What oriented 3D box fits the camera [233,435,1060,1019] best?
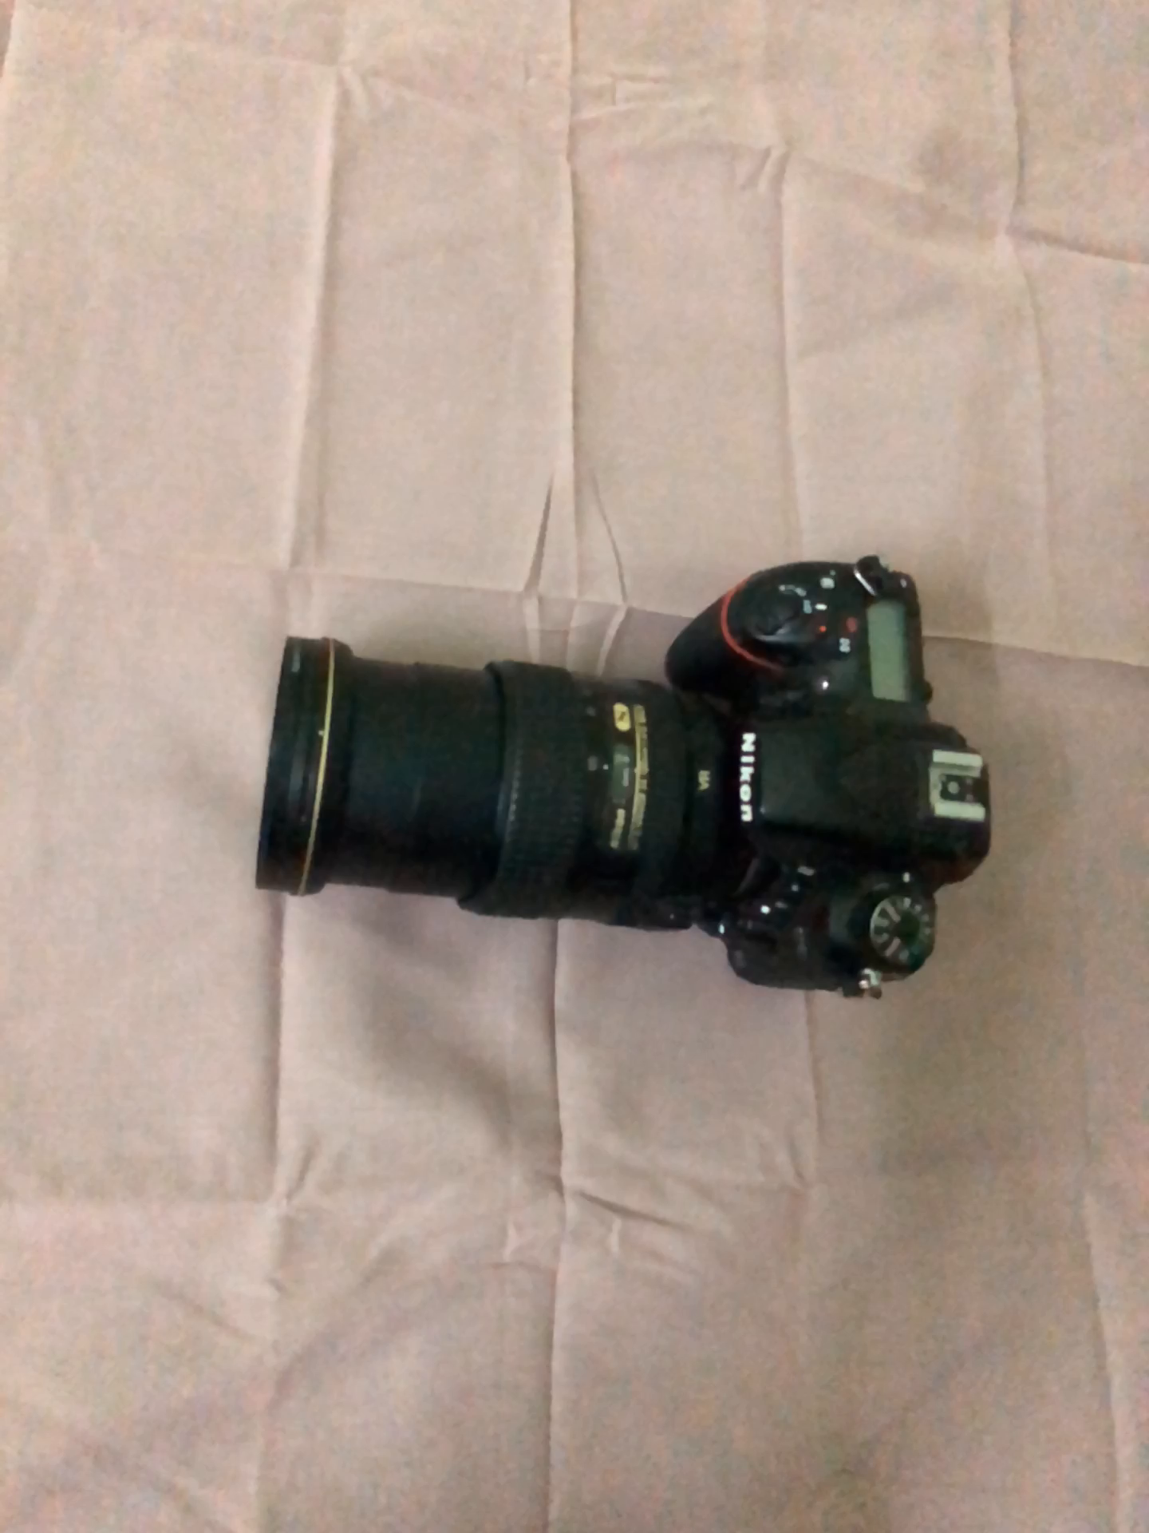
[{"bbox_3d":[0.019,0.002,0.407,0.232,0.110,0.139,7,75,-16],"label":"camera"}]
